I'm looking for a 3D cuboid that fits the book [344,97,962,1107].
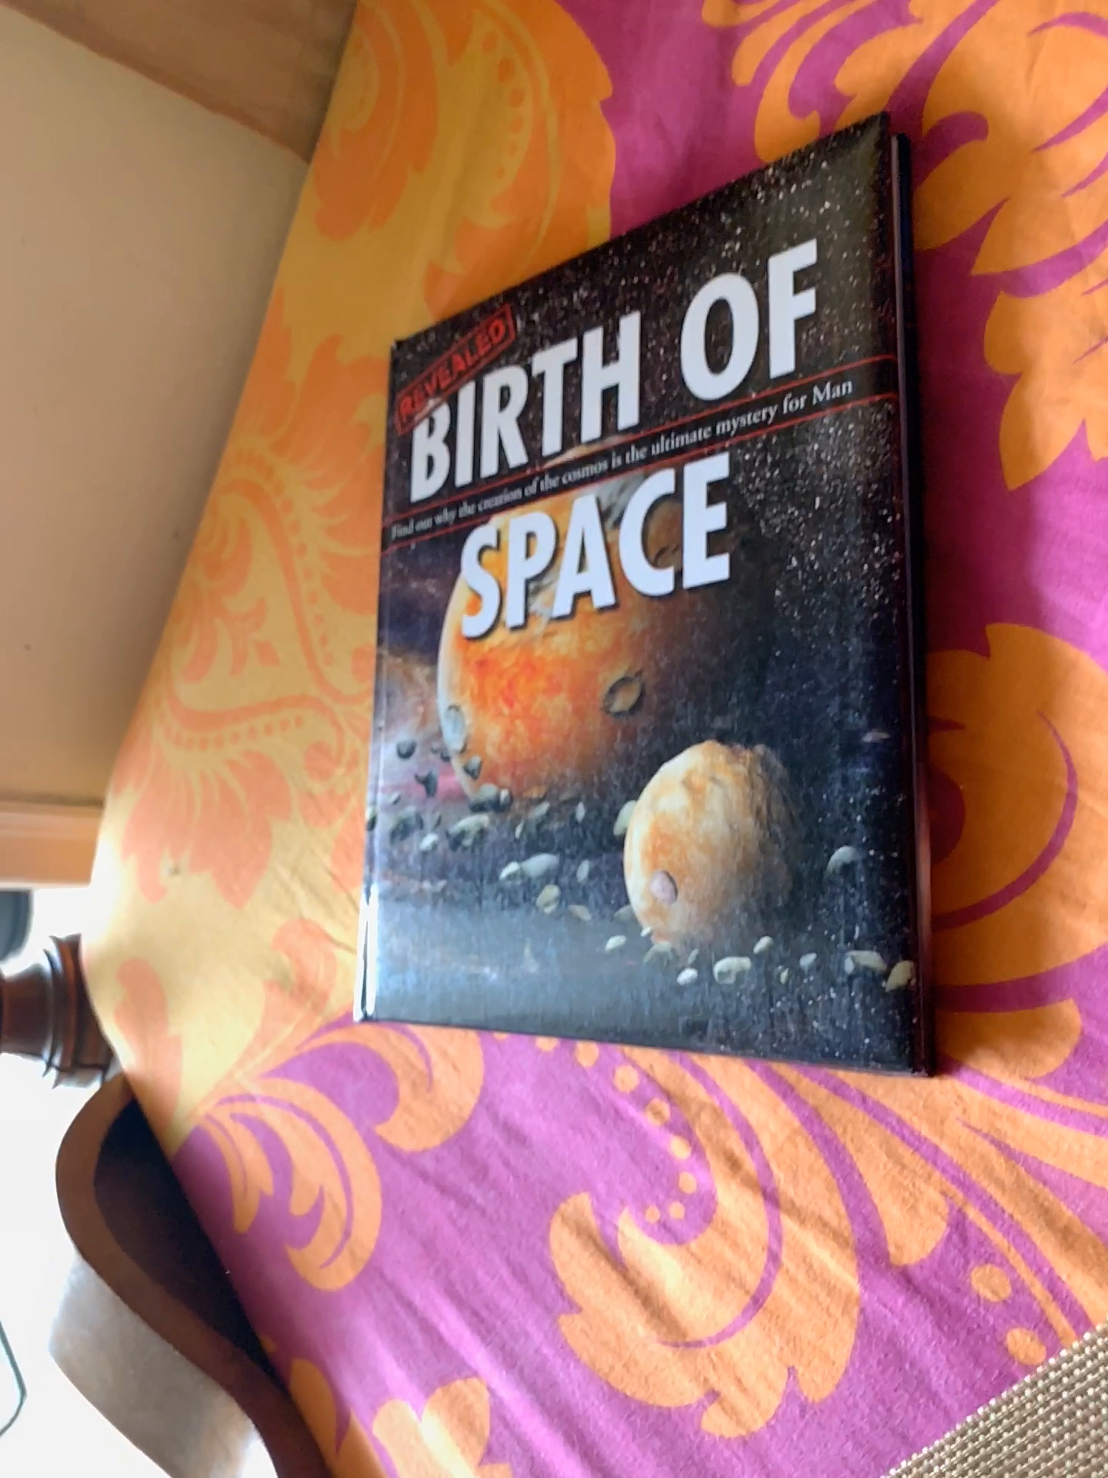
[{"bbox_3d":[0.015,-0.032,0.361,0.212,0.020,0.258,-7,77,41],"label":"book"}]
